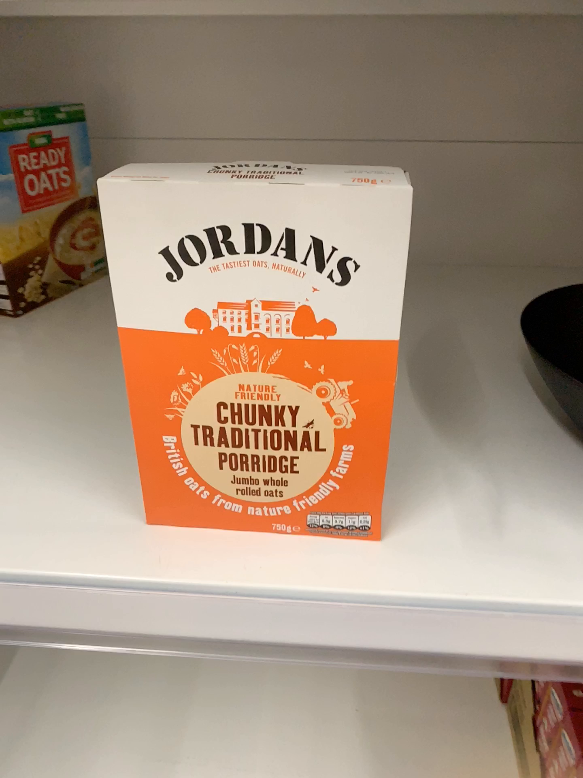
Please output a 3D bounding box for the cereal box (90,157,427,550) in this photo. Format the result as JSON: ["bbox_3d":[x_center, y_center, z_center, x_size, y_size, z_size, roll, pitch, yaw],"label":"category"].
[{"bbox_3d":[-0.018,-0.016,0.424,0.190,0.268,0.061,3,28,5],"label":"cereal box"}]
